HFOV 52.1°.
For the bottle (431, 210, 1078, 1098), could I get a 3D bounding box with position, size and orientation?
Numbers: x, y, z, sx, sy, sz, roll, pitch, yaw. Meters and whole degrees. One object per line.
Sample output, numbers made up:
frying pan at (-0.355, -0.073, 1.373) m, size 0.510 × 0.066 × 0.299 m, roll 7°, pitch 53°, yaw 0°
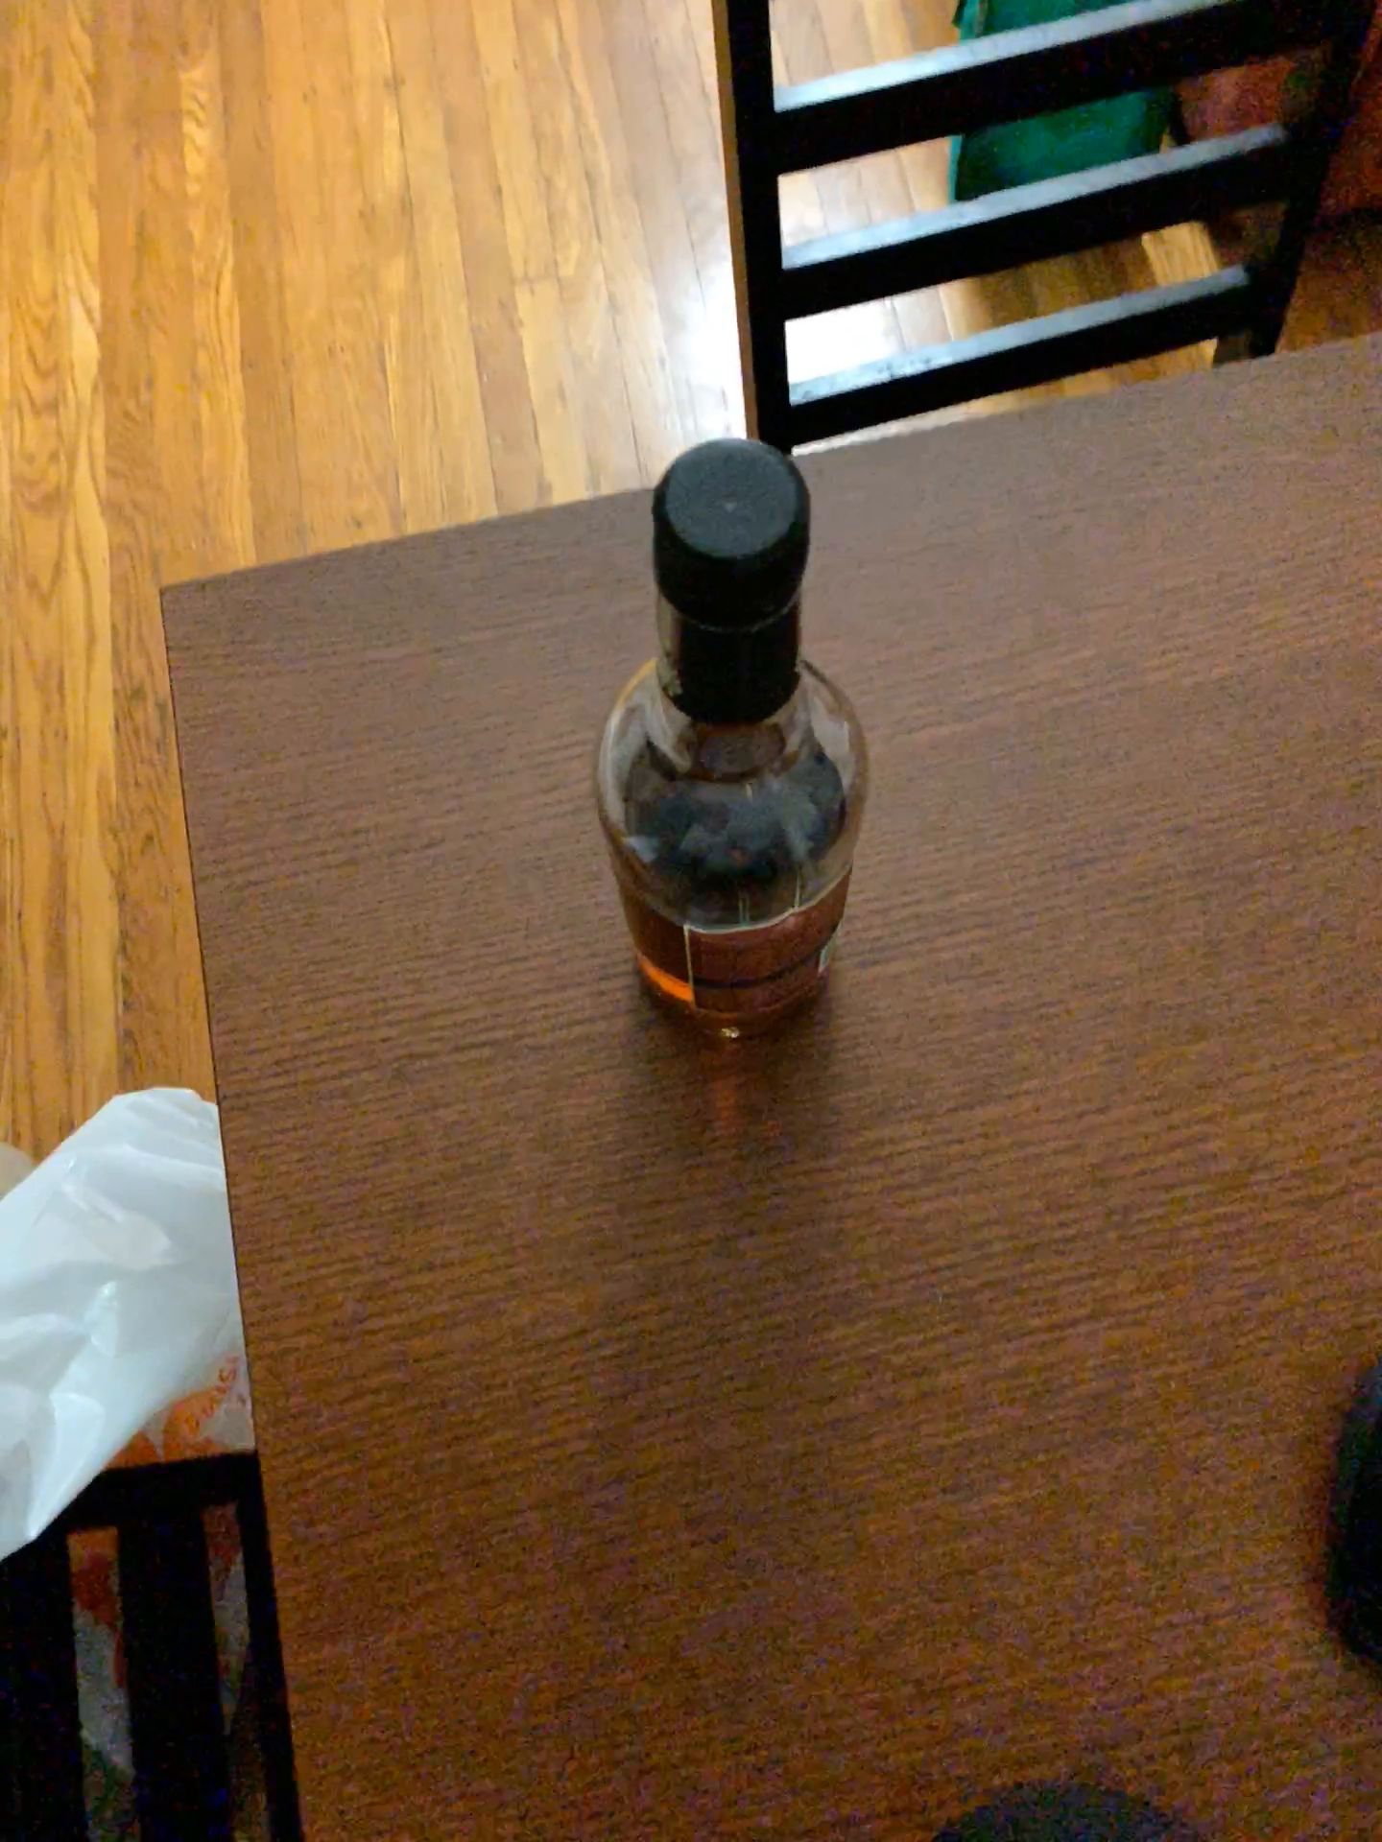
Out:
bottle at (0.014, -0.038, 0.399) m, size 0.090 × 0.289 × 0.090 m, roll -1°, pitch 71°, yaw 2°
